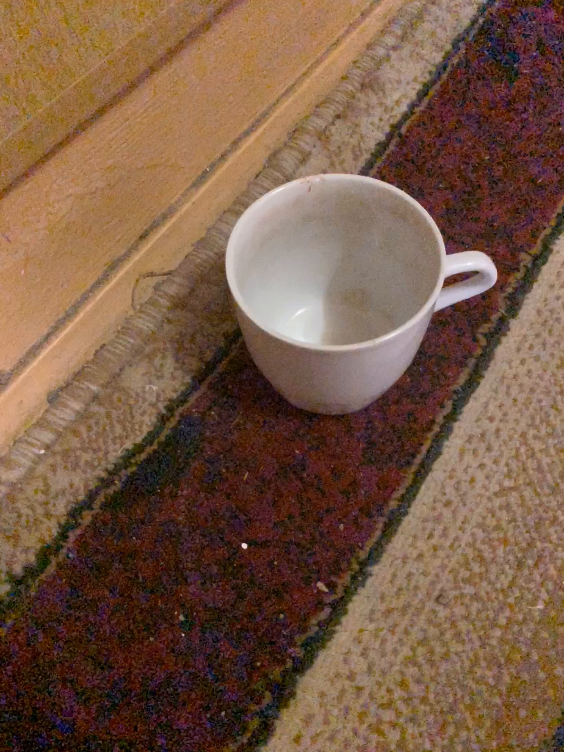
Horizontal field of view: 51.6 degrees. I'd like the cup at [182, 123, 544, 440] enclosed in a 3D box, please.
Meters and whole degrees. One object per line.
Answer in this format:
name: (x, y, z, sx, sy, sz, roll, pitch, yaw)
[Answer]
cup: (0.028, -0.037, 0.249, 0.114, 0.075, 0.081, -14, 63, -3)
